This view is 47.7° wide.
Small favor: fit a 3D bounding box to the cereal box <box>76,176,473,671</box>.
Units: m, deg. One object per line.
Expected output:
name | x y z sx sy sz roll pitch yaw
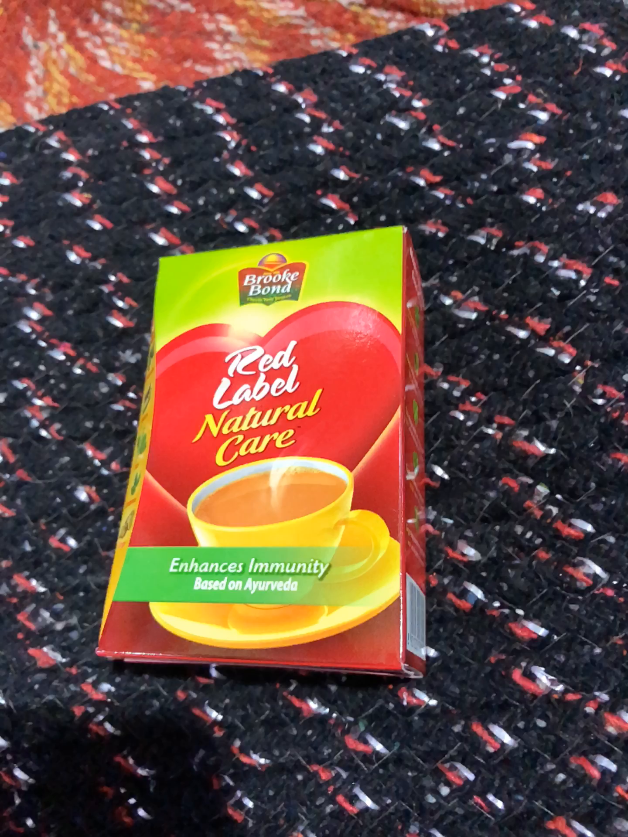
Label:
cereal box | -0.003 0.002 0.177 0.080 0.040 0.110 -2 68 13
